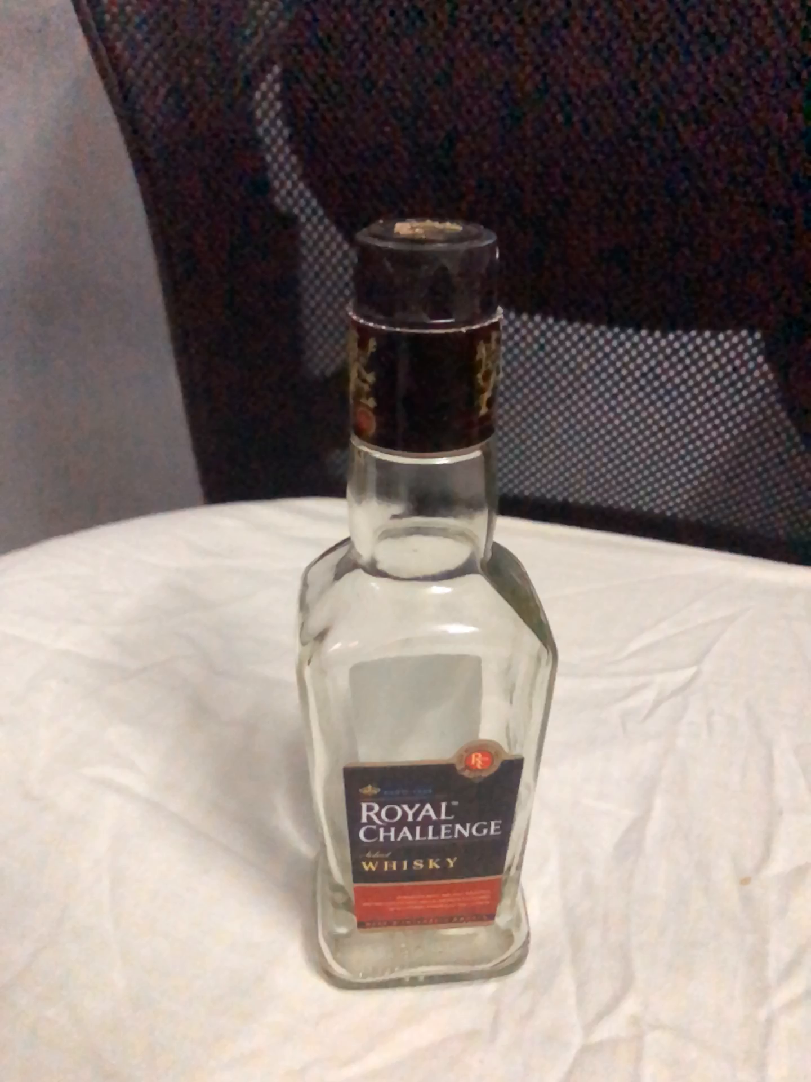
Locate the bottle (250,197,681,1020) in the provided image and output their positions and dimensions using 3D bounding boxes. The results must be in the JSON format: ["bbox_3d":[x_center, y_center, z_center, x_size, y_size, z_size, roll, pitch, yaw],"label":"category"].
[{"bbox_3d":[0.007,0.027,0.217,0.070,0.199,0.050,-2,30,-5],"label":"bottle"}]
